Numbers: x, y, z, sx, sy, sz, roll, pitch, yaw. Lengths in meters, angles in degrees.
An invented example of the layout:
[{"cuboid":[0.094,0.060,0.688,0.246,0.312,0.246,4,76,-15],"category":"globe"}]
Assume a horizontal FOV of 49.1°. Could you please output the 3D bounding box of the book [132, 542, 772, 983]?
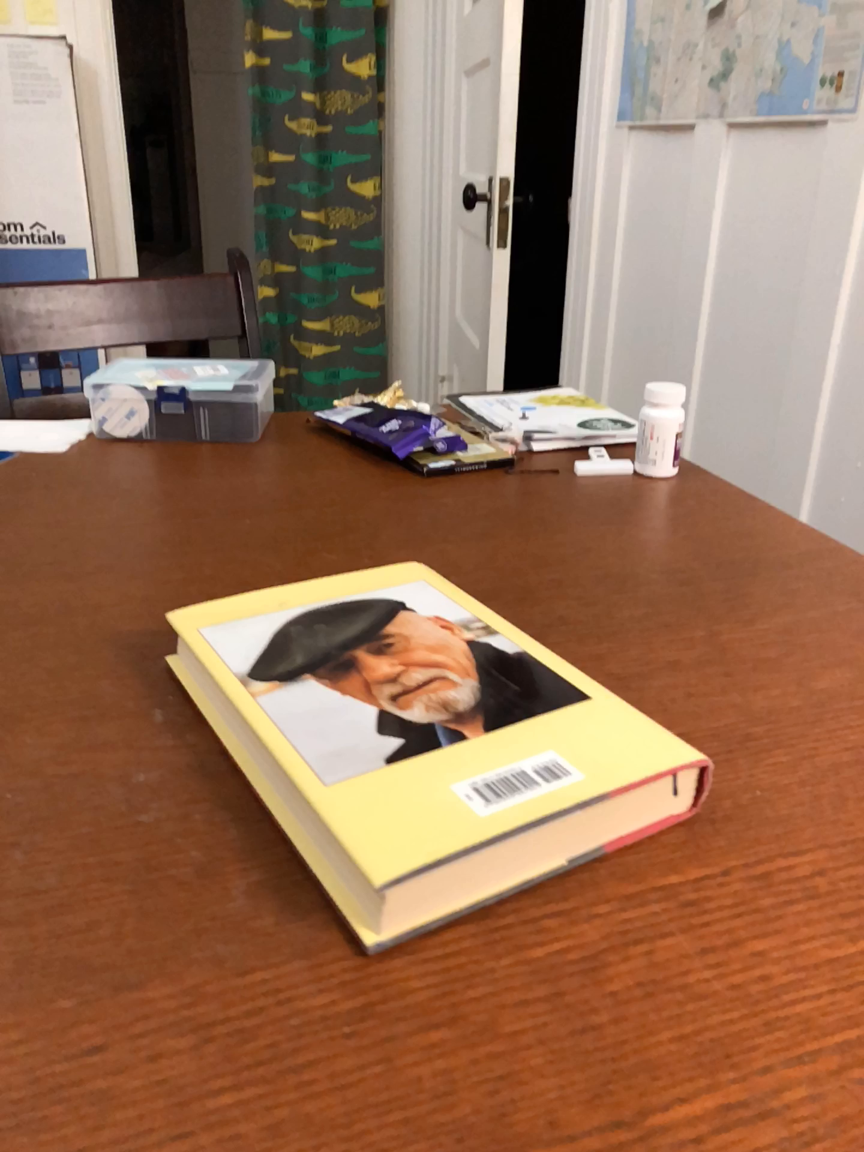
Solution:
[{"cuboid":[-0.009,0.055,0.440,0.190,0.030,0.251,-13,27,-29],"category":"book"}]
